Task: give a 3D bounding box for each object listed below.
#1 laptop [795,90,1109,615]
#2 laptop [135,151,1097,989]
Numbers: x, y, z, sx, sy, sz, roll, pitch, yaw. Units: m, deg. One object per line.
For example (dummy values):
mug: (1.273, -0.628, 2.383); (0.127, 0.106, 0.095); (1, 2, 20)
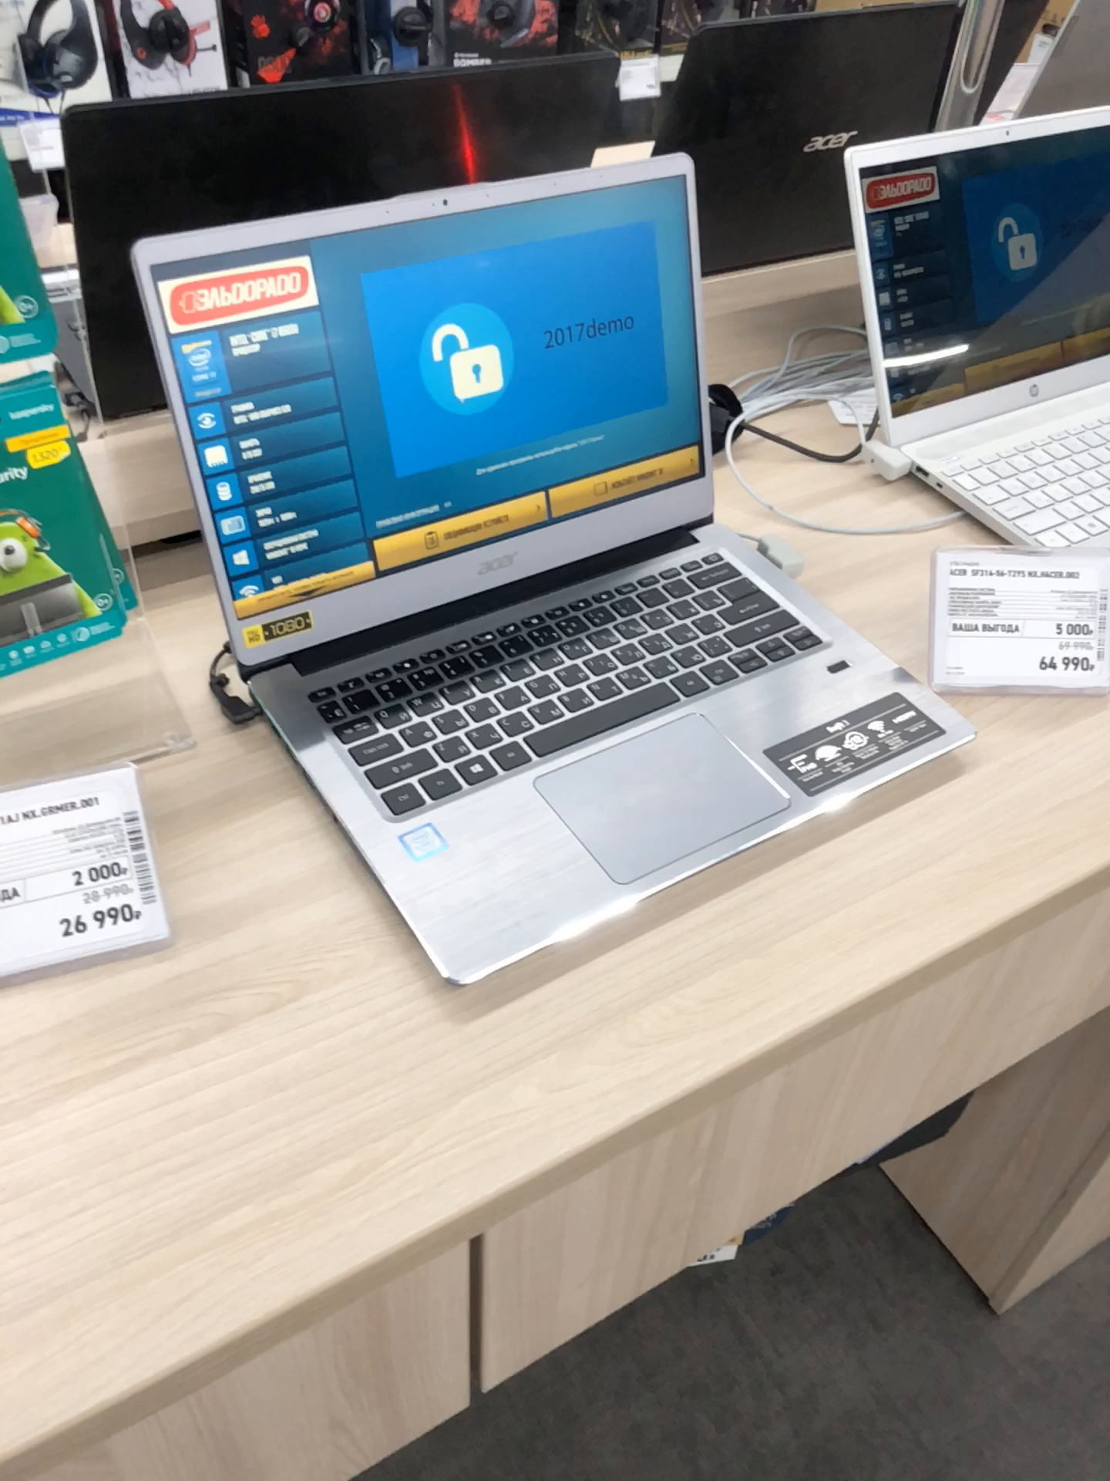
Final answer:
laptop: (0.400, -0.291, 0.848); (0.305, 0.164, 0.323); (-21, 51, -25)
laptop: (0.015, -0.115, 0.607); (0.315, 0.197, 0.303); (-22, 50, -26)
